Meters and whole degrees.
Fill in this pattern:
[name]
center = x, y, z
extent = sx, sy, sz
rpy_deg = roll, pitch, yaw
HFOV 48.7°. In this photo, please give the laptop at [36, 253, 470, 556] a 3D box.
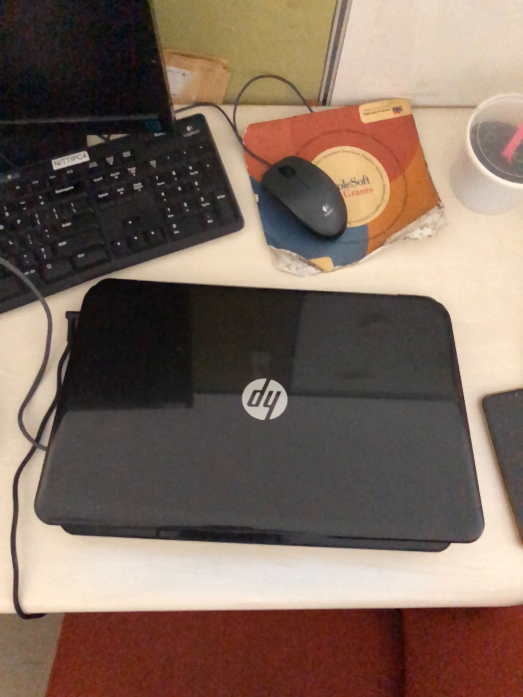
[laptop]
center = 0.002, 0.050, 0.529
extent = 0.350, 0.072, 0.246
rpy_deg = 3, 76, -1
